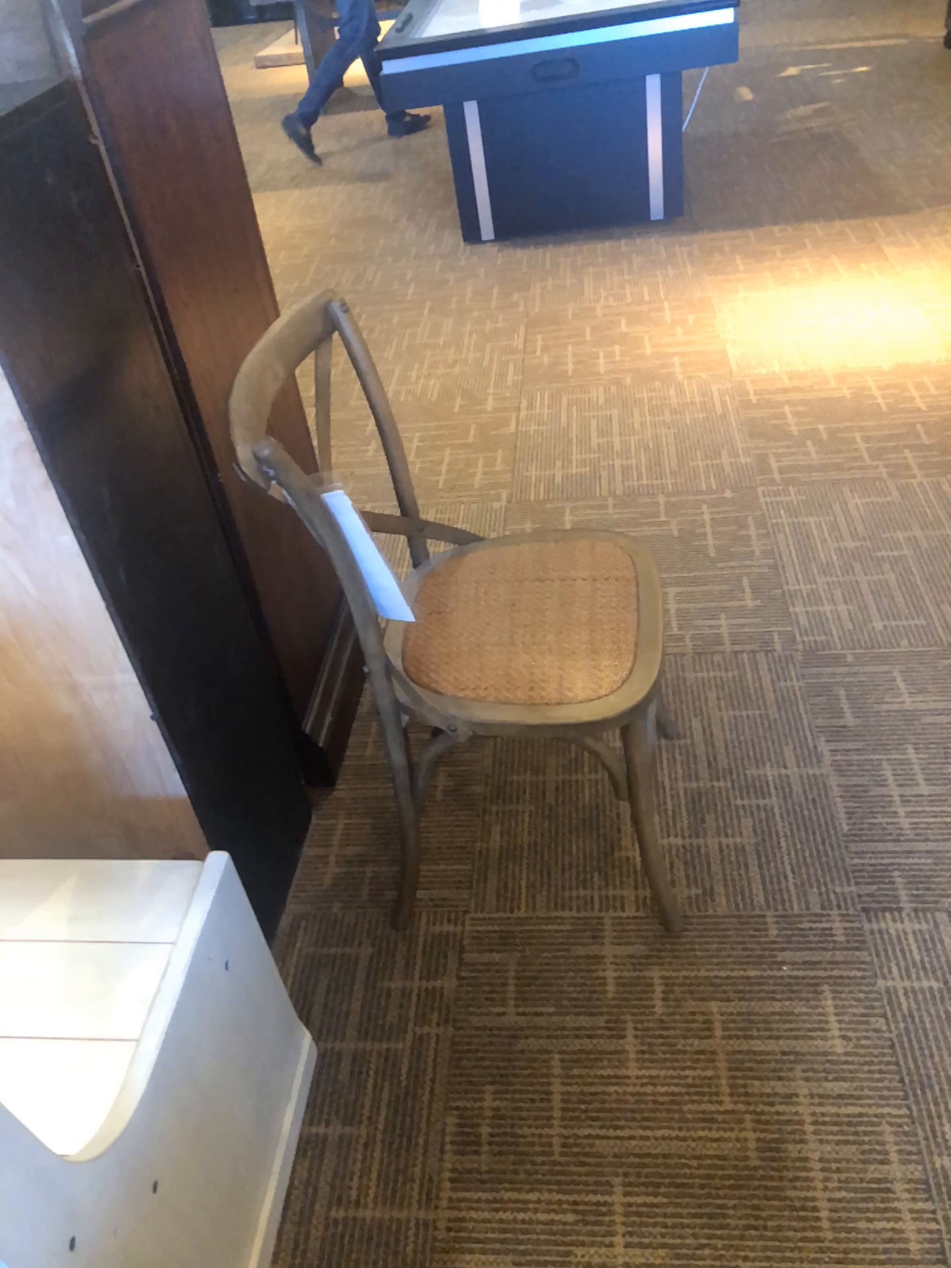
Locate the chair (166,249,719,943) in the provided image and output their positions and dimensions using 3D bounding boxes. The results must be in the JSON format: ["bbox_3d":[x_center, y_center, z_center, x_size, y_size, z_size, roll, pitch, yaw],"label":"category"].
[{"bbox_3d":[0.035,-0.030,1.490,0.565,0.813,0.518,-1,39,10],"label":"chair"}]
